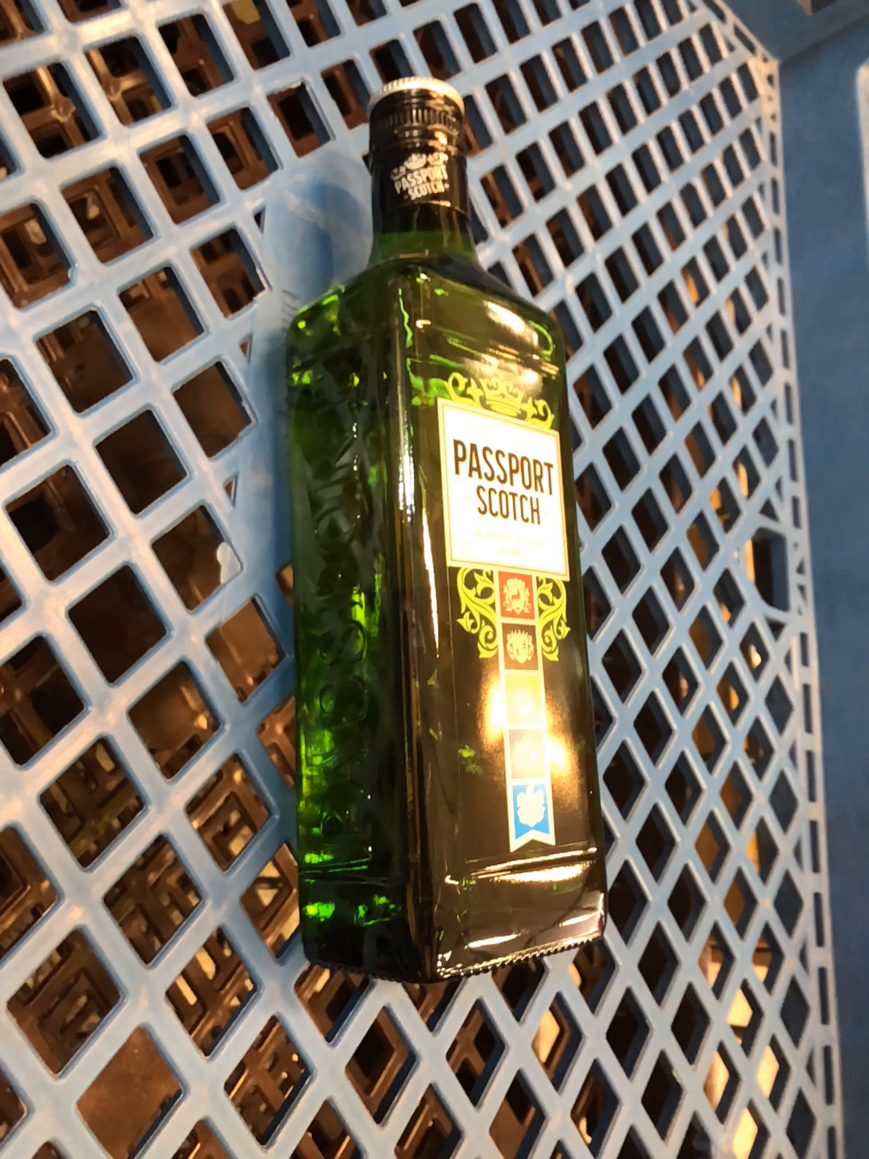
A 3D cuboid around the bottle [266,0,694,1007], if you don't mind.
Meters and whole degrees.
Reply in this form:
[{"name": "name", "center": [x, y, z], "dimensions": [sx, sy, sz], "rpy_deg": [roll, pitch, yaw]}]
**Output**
[{"name": "bottle", "center": [0.008, -0.038, 0.283], "dimensions": [0.080, 0.070, 0.280], "rpy_deg": [6, 76, -41]}]
